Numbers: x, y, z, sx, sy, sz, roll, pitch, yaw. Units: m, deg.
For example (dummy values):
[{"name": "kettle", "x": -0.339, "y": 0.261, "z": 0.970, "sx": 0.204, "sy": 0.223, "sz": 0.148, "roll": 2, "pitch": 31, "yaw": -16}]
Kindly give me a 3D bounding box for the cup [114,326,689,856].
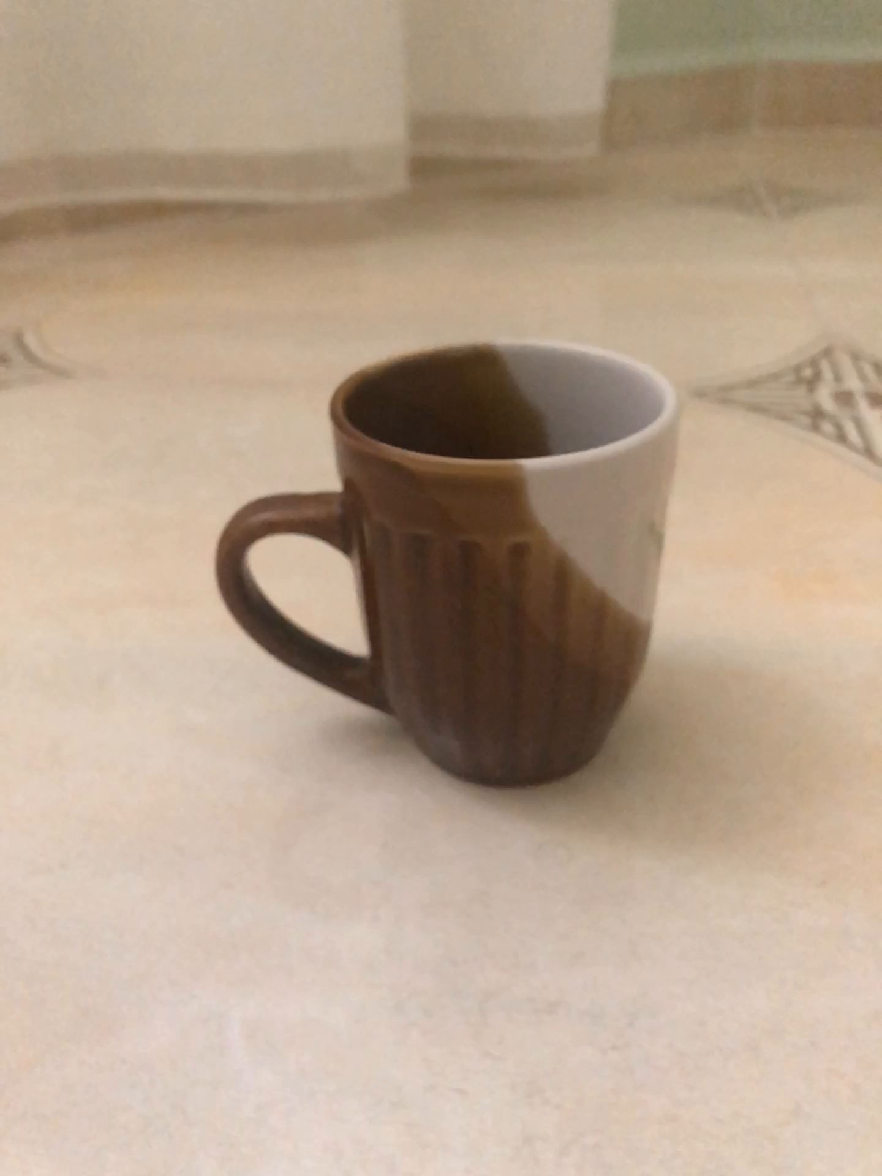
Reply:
[{"name": "cup", "x": -0.001, "y": -0.005, "z": 0.230, "sx": 0.103, "sy": 0.086, "sz": 0.076, "roll": 5, "pitch": 31, "yaw": 13}]
